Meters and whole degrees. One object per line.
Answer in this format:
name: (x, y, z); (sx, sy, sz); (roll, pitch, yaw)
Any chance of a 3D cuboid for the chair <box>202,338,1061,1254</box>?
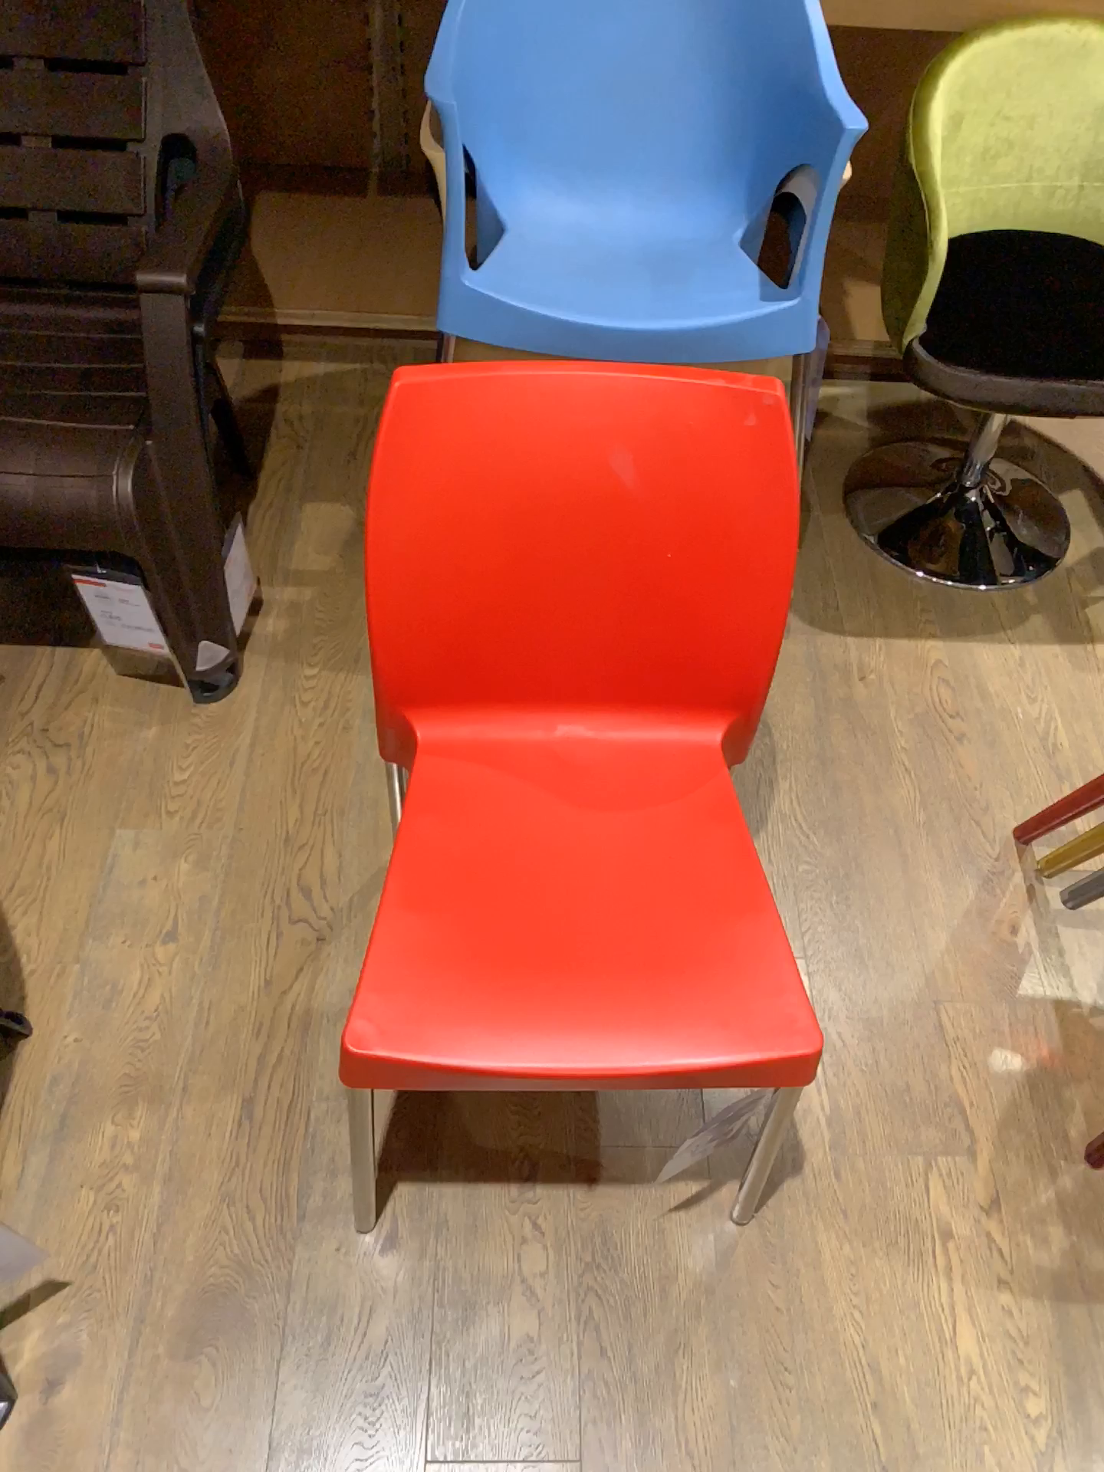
chair: (0.020, 0.114, 1.167); (0.520, 0.788, 0.591); (0, 52, -4)
